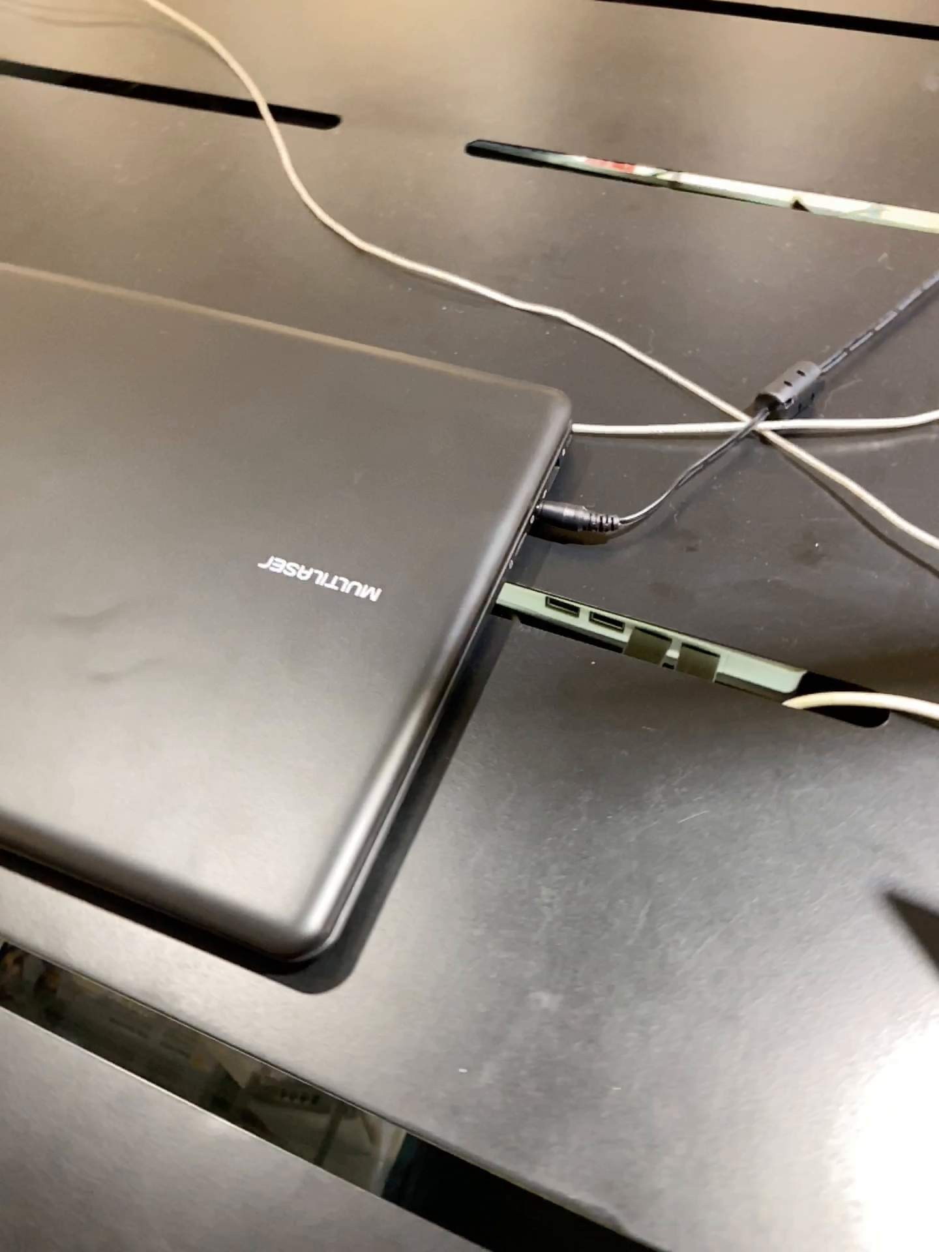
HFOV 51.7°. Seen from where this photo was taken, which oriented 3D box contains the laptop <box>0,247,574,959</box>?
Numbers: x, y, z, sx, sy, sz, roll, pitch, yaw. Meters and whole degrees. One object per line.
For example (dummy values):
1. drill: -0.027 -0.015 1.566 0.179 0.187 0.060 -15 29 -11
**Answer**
1. laptop: -0.151 -0.043 0.339 0.324 0.001 0.211 16 58 15
